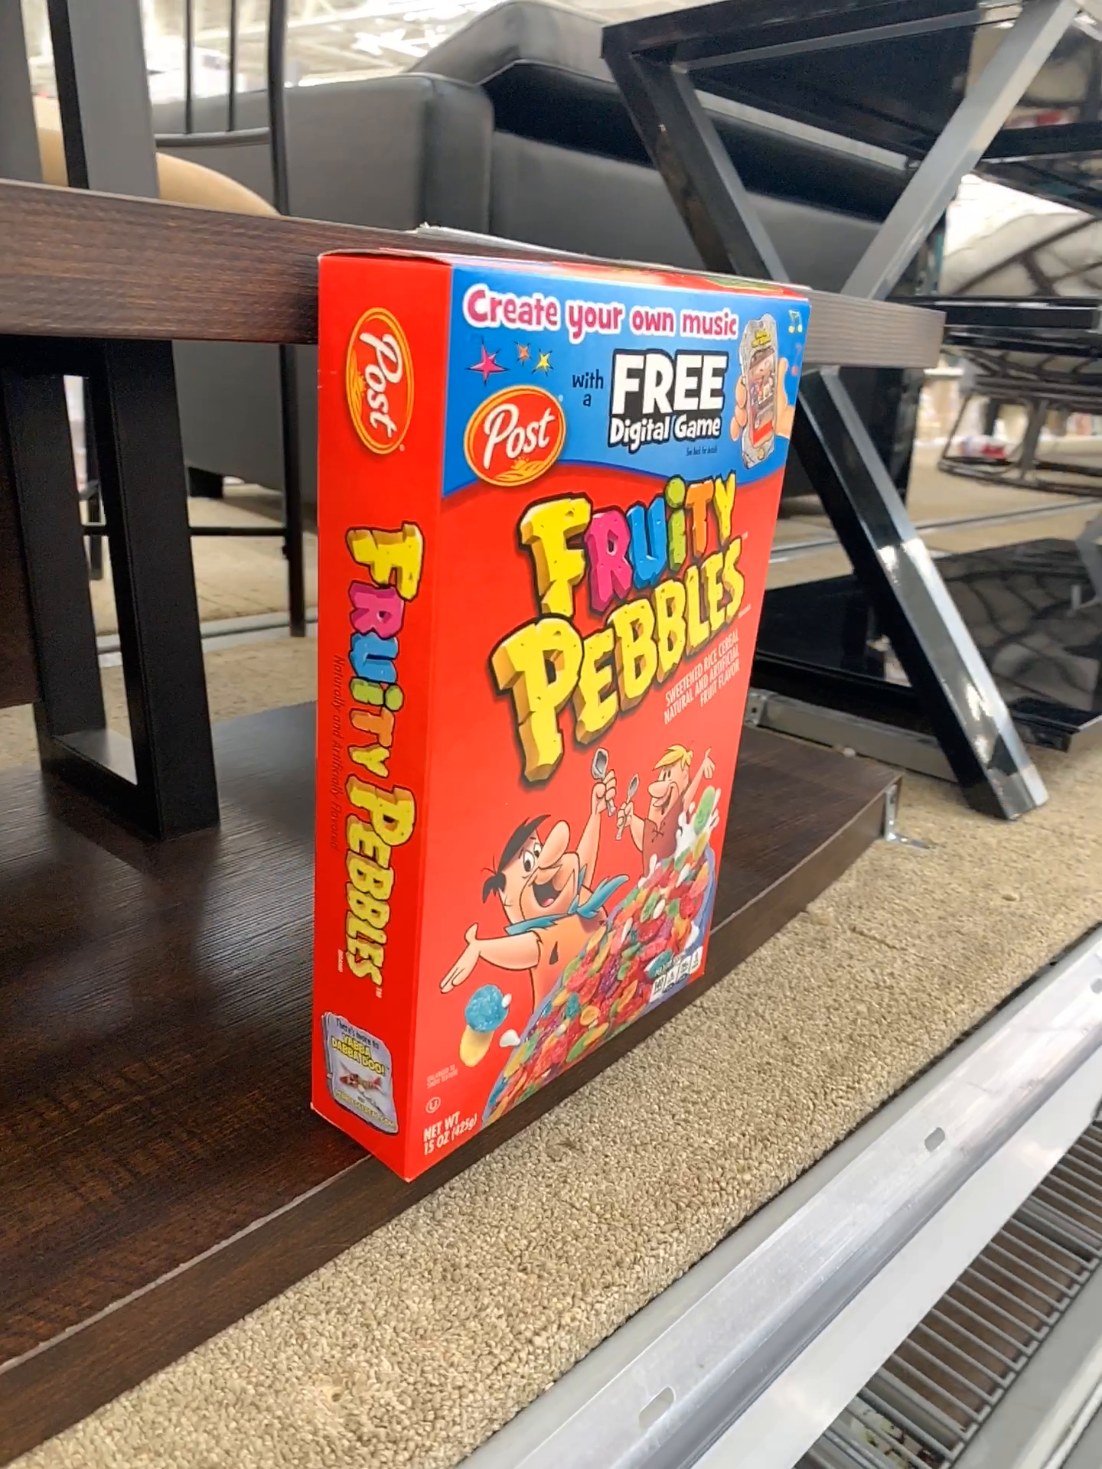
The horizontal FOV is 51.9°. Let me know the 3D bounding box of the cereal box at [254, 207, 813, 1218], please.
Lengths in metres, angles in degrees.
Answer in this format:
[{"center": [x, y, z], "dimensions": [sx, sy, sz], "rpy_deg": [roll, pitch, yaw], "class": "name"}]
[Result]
[{"center": [-0.003, -0.014, 0.422], "dimensions": [0.060, 0.309, 0.211], "rpy_deg": [20, 25, 36], "class": "cereal box"}]
